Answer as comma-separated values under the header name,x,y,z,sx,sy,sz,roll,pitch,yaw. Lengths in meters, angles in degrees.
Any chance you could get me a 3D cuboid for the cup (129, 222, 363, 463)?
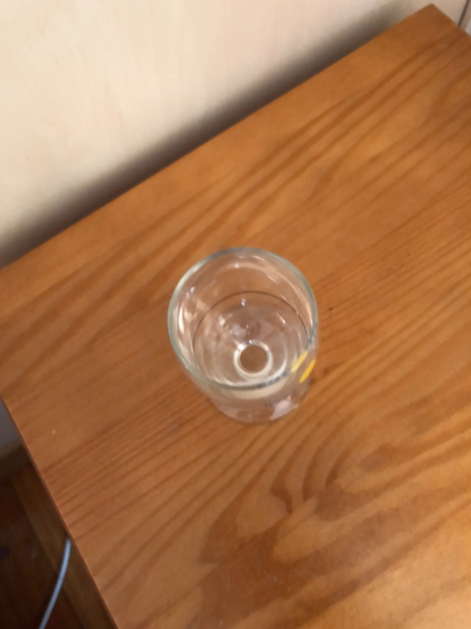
name,x,y,z,sx,sy,sz,roll,pitch,yaw
cup,0.008,0.021,0.260,0.069,0.098,0.069,-2,71,4
